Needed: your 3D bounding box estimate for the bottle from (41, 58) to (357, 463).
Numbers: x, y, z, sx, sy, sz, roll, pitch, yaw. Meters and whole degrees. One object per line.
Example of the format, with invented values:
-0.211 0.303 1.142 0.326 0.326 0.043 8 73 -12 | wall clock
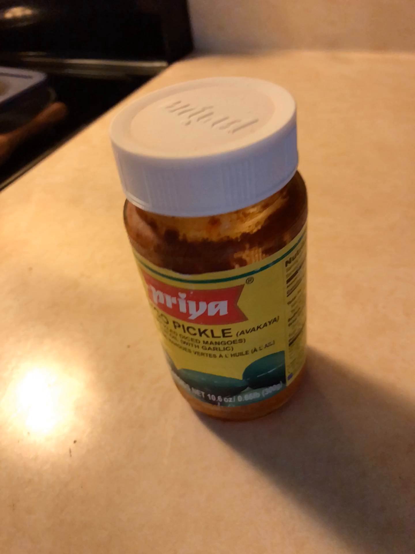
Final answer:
0.007 -0.003 0.177 0.070 0.130 0.060 17 47 27 | bottle
